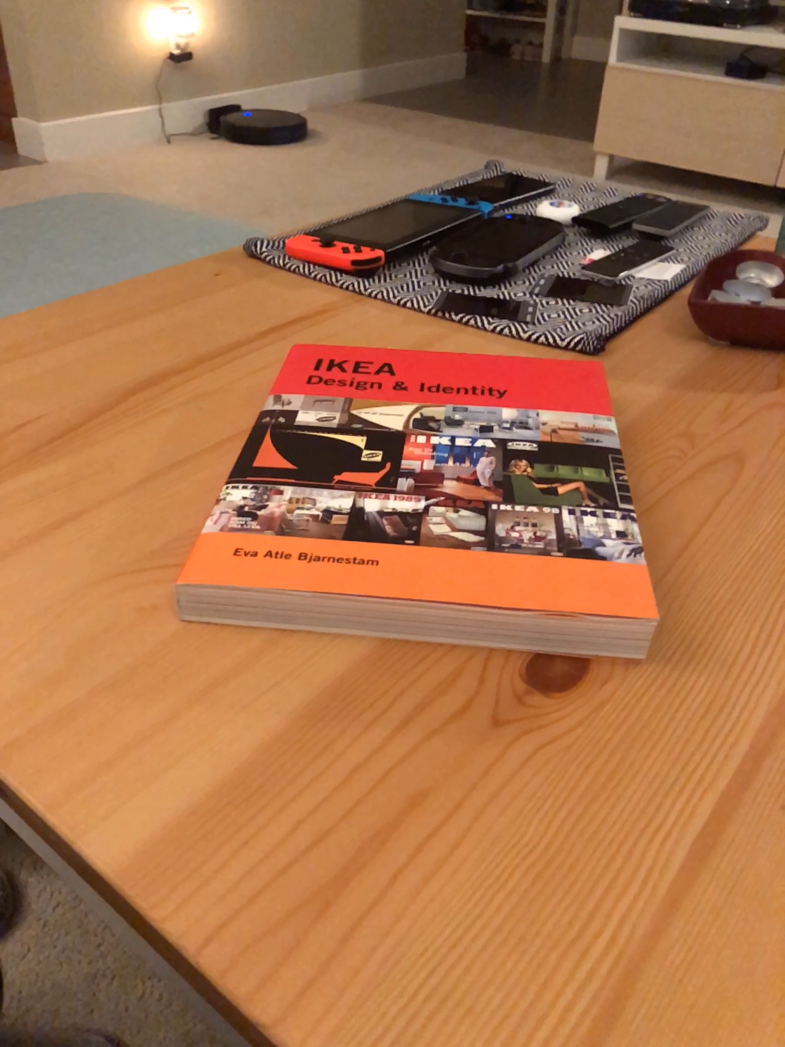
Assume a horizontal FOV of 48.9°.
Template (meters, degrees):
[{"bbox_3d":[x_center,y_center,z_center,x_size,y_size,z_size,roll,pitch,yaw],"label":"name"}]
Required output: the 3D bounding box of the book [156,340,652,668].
[{"bbox_3d":[0.015,-0.031,0.486,0.216,0.030,0.256,5,35,4],"label":"book"}]
